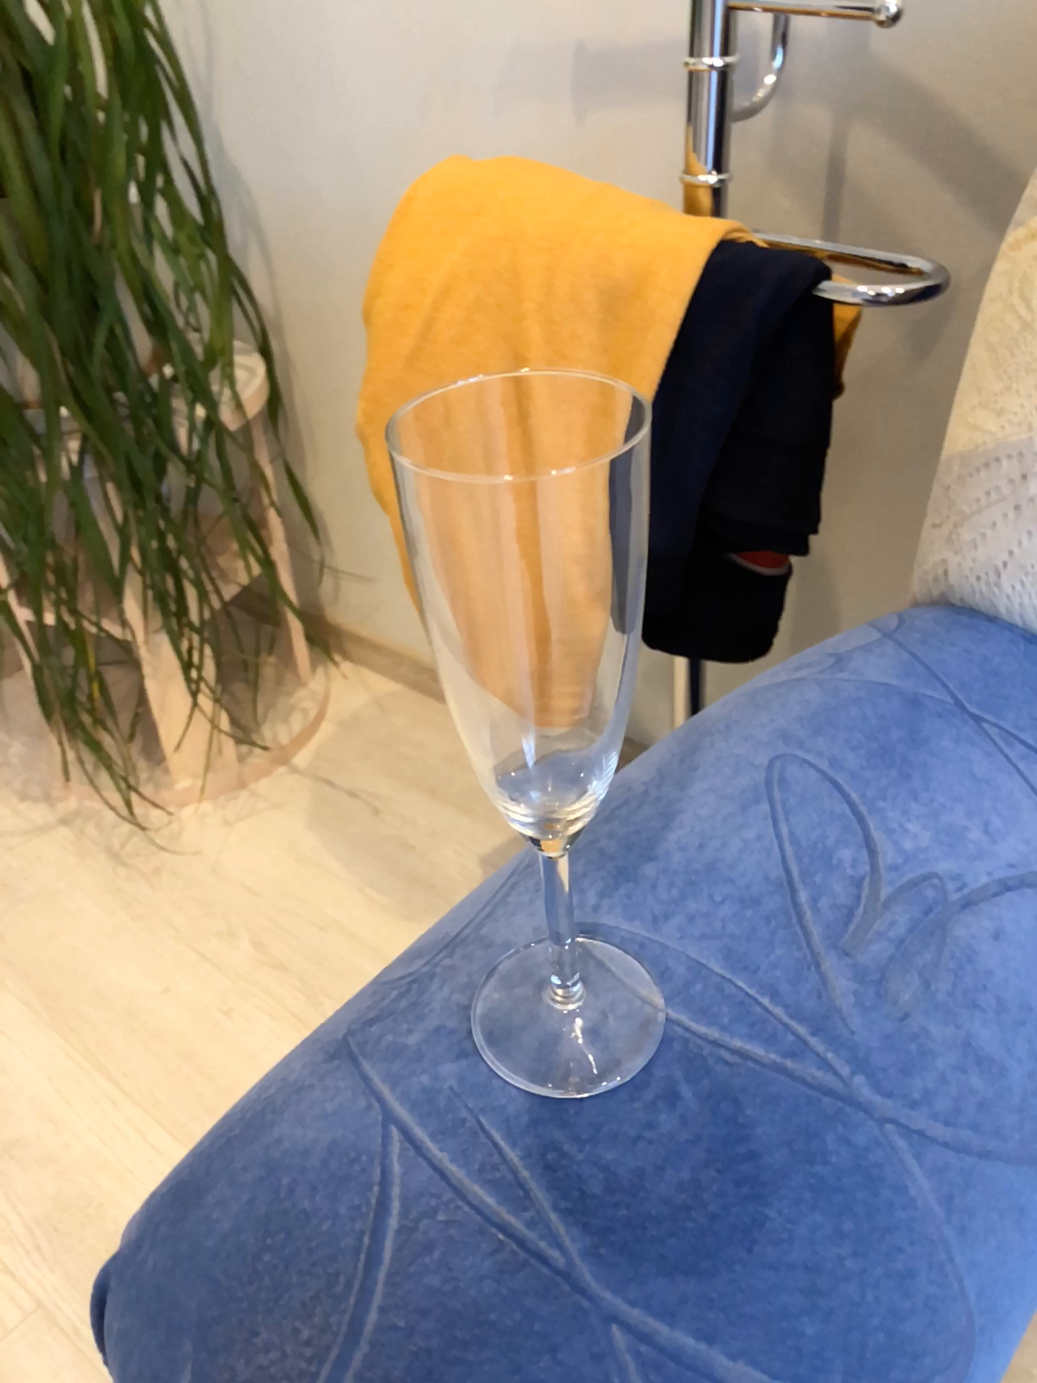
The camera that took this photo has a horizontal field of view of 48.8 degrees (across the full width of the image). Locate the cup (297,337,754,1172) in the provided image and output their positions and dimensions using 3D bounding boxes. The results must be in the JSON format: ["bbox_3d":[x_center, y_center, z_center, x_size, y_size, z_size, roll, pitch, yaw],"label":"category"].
[{"bbox_3d":[0.008,0.024,0.321,0.072,0.214,0.076,-3,34,2],"label":"cup"}]
